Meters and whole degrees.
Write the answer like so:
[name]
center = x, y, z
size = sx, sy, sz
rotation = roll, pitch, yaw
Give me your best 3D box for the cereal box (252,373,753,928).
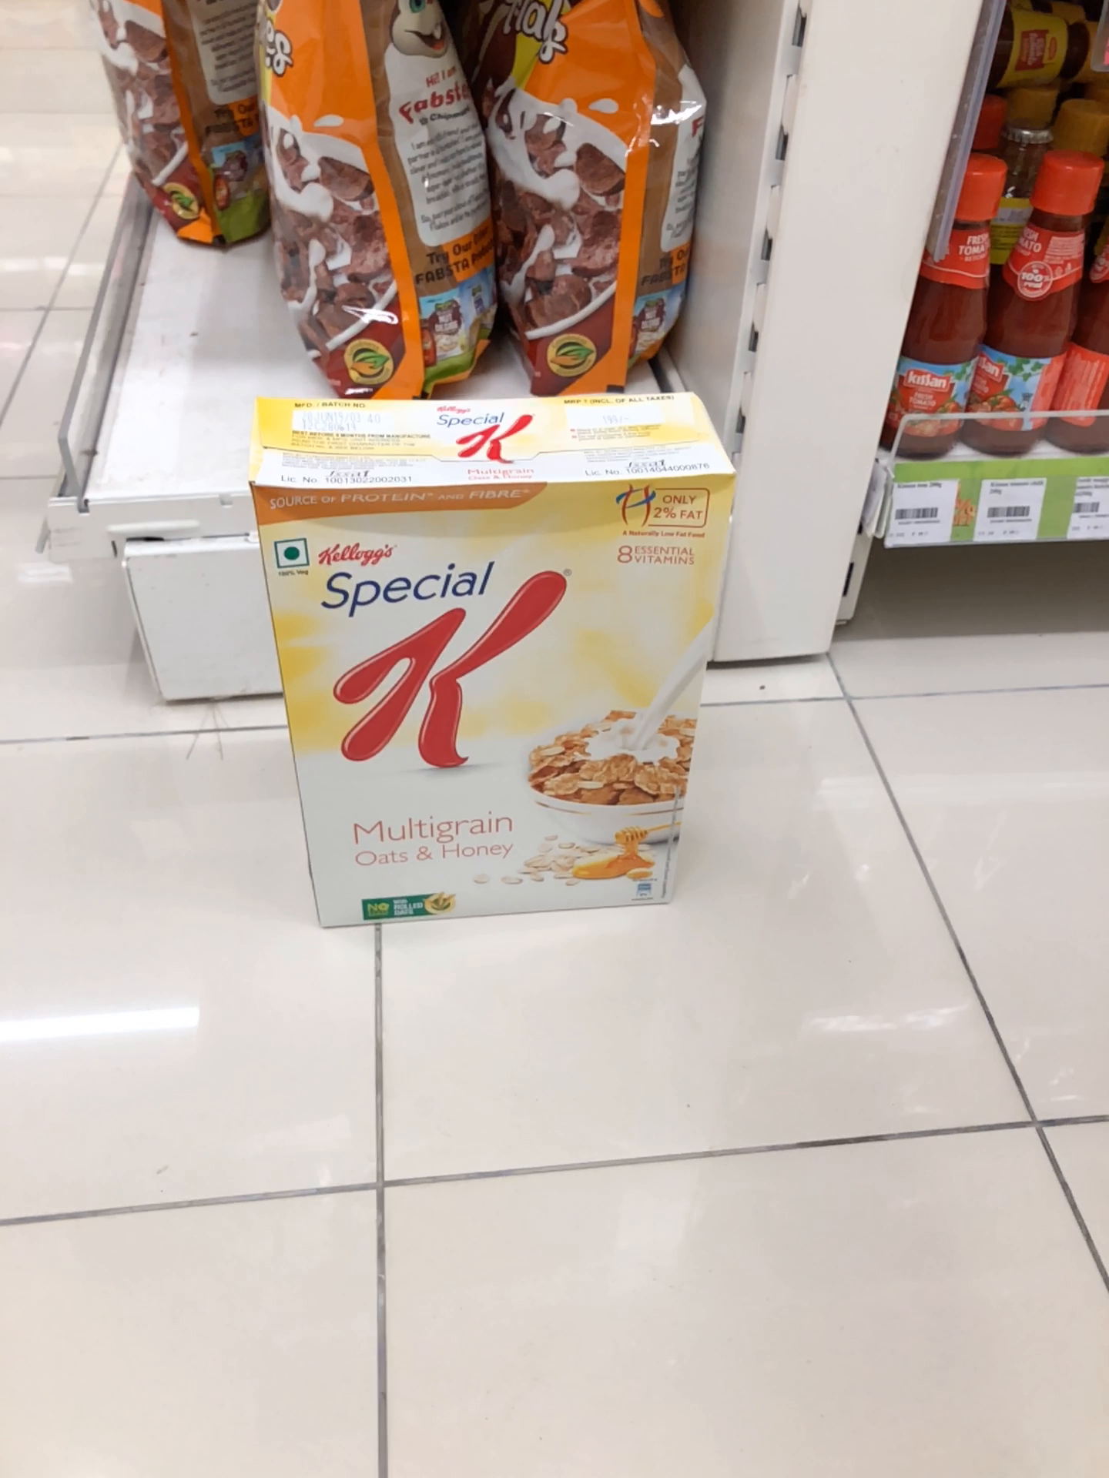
[cereal box]
center = -0.029, -0.030, 0.578
size = 0.190, 0.268, 0.070
rotation = -3, 43, -8
